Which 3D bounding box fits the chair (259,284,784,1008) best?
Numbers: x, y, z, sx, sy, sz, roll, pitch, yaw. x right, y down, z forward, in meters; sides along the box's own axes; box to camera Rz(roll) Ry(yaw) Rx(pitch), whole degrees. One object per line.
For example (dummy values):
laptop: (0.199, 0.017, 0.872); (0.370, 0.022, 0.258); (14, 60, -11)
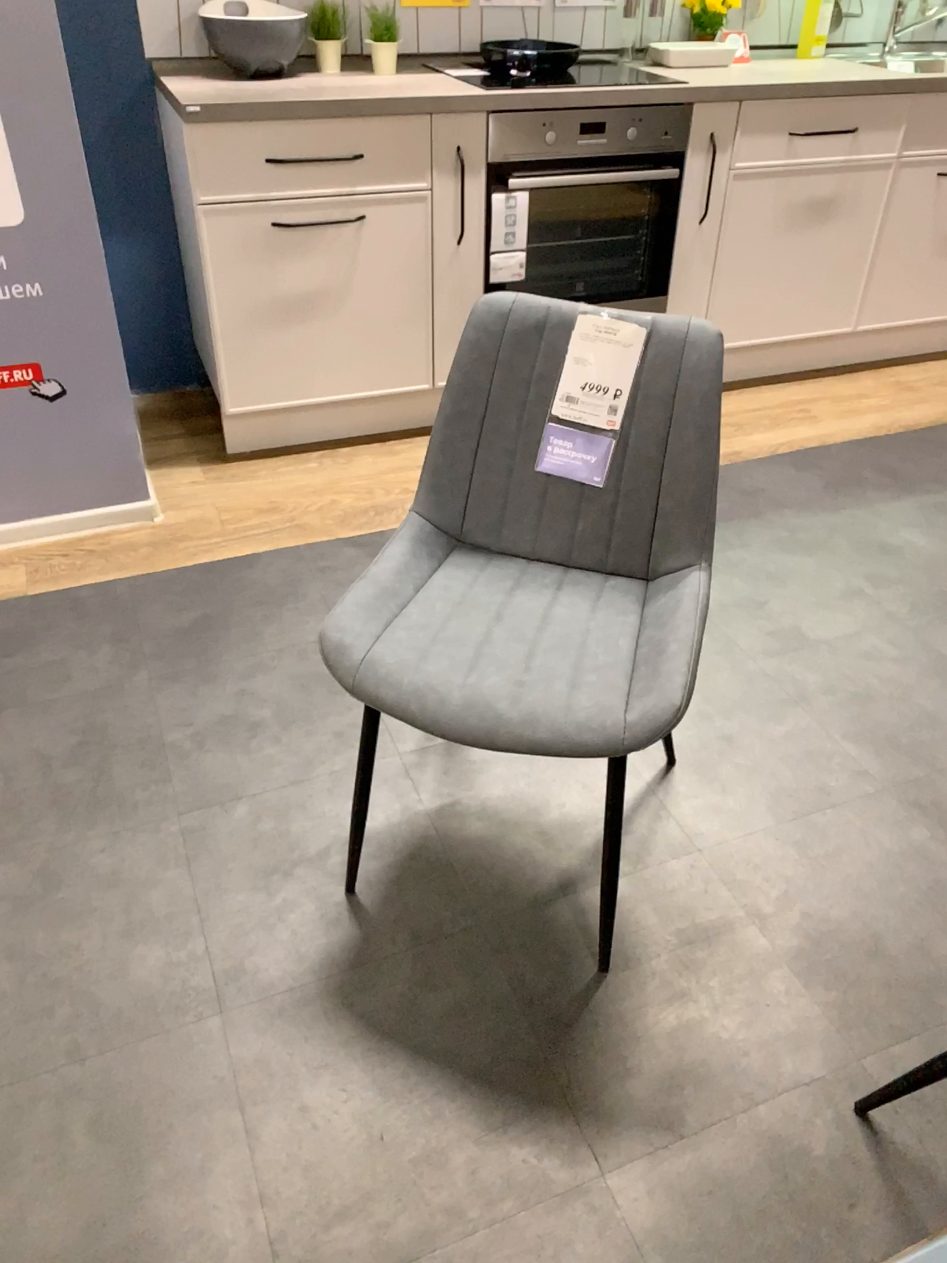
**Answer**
chair: (0.097, 0.004, 1.495); (0.523, 0.833, 0.592); (13, 38, 15)
